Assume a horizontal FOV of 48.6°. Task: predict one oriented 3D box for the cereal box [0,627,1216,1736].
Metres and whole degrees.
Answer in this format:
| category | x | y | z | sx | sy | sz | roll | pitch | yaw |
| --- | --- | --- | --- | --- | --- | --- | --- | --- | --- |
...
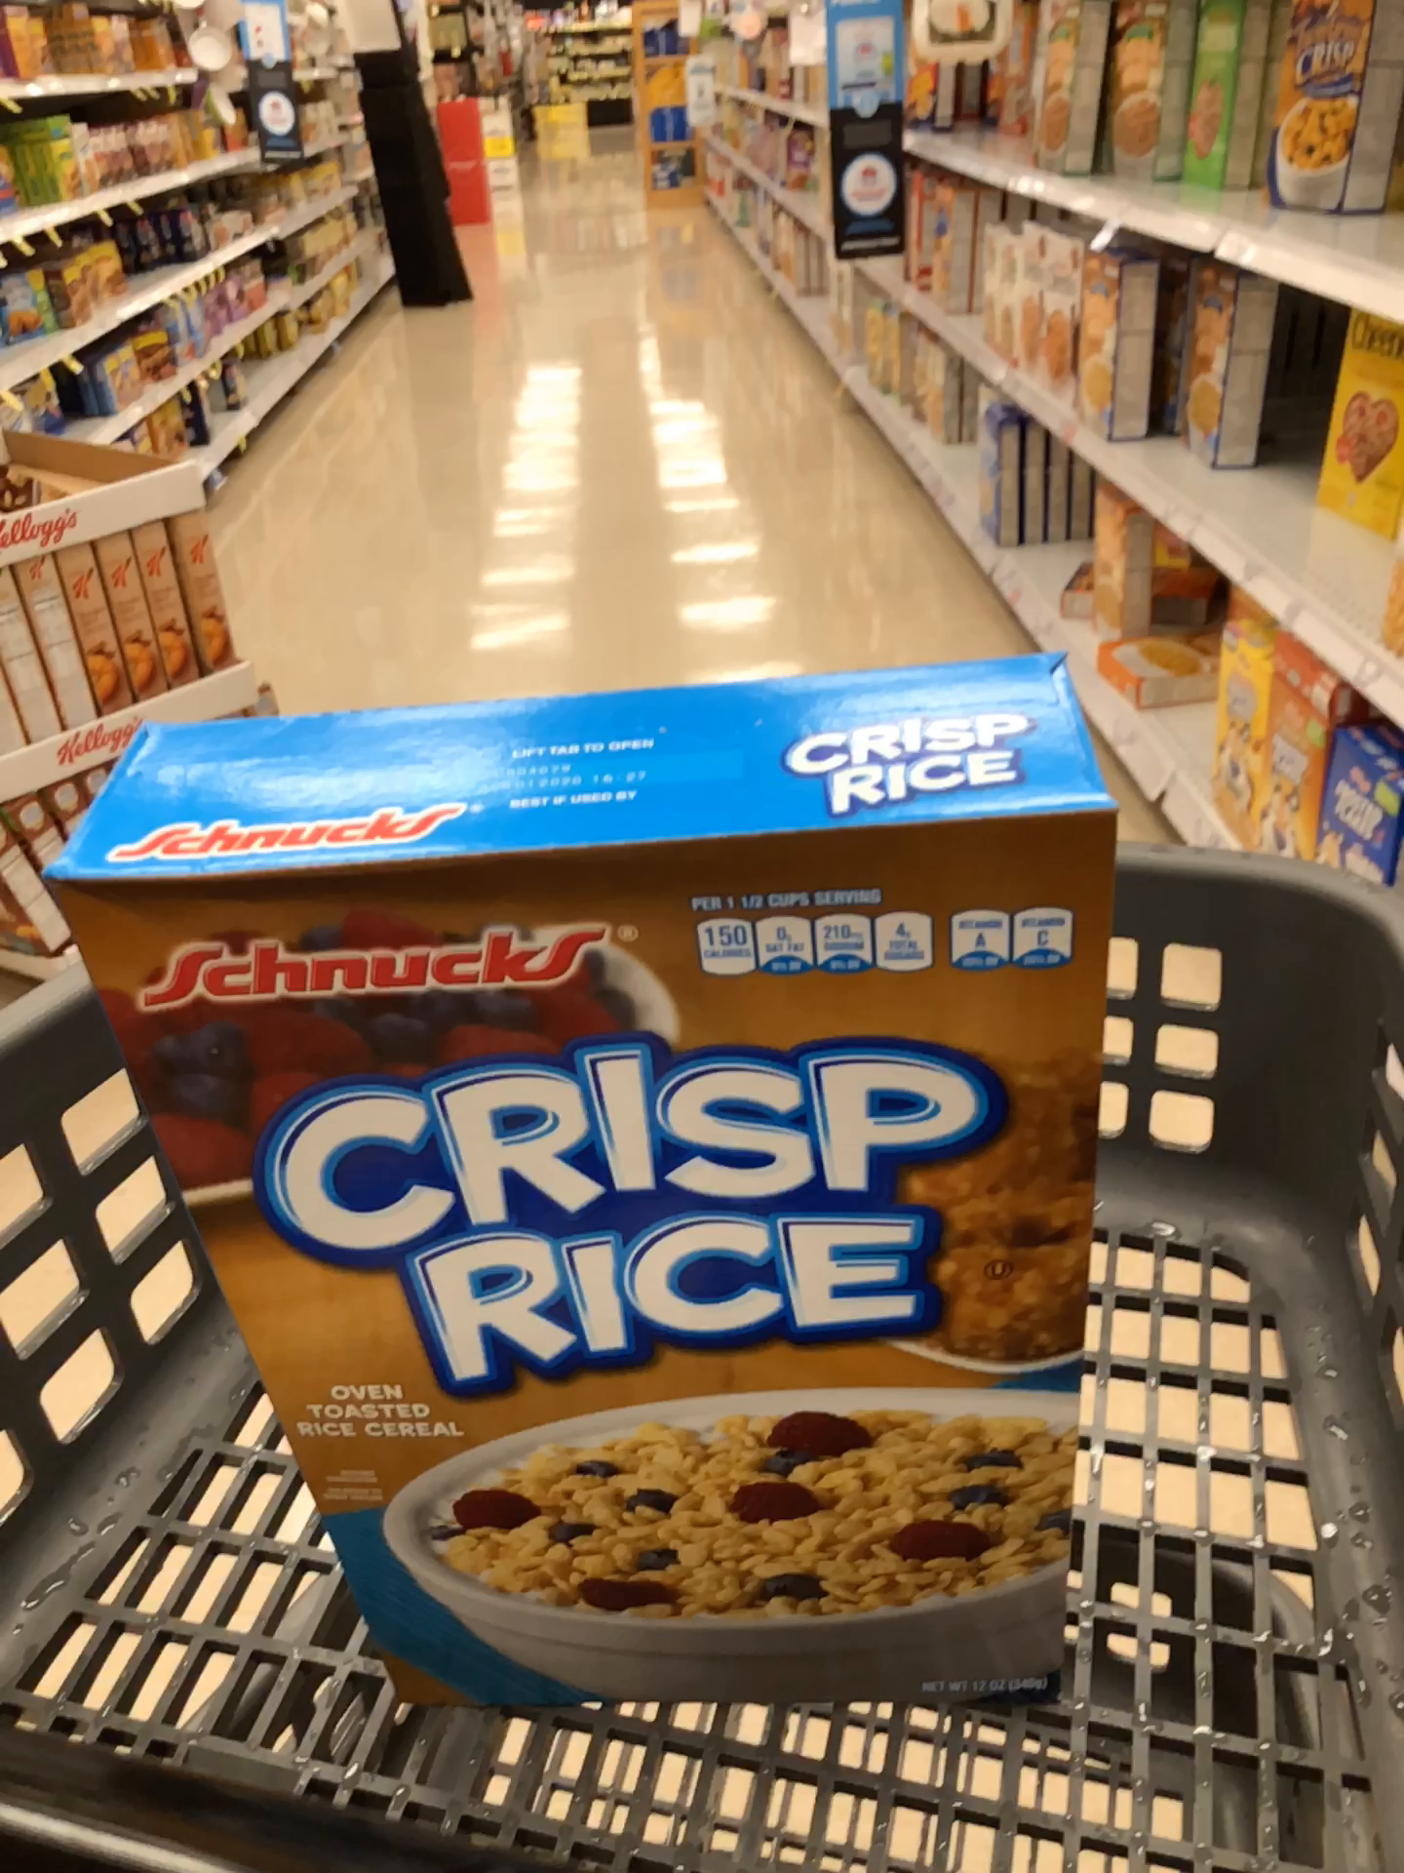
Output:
| category | x | y | z | sx | sy | sz | roll | pitch | yaw |
| --- | --- | --- | --- | --- | --- | --- | --- | --- | --- |
| cereal box | -0.011 | 0.084 | 0.377 | 0.220 | 0.299 | 0.060 | -4 | 36 | 3 |
